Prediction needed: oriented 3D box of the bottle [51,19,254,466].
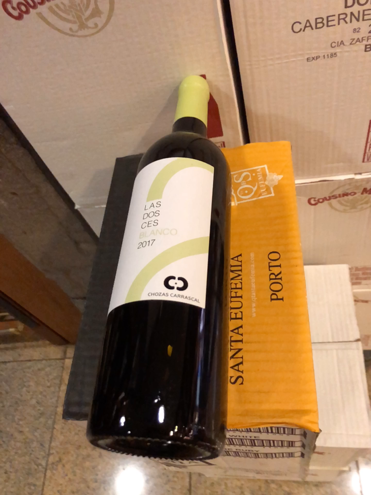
[{"bbox_3d":[-0.001,-0.030,0.296,0.090,0.070,0.321,-3,58,13],"label":"bottle"}]
